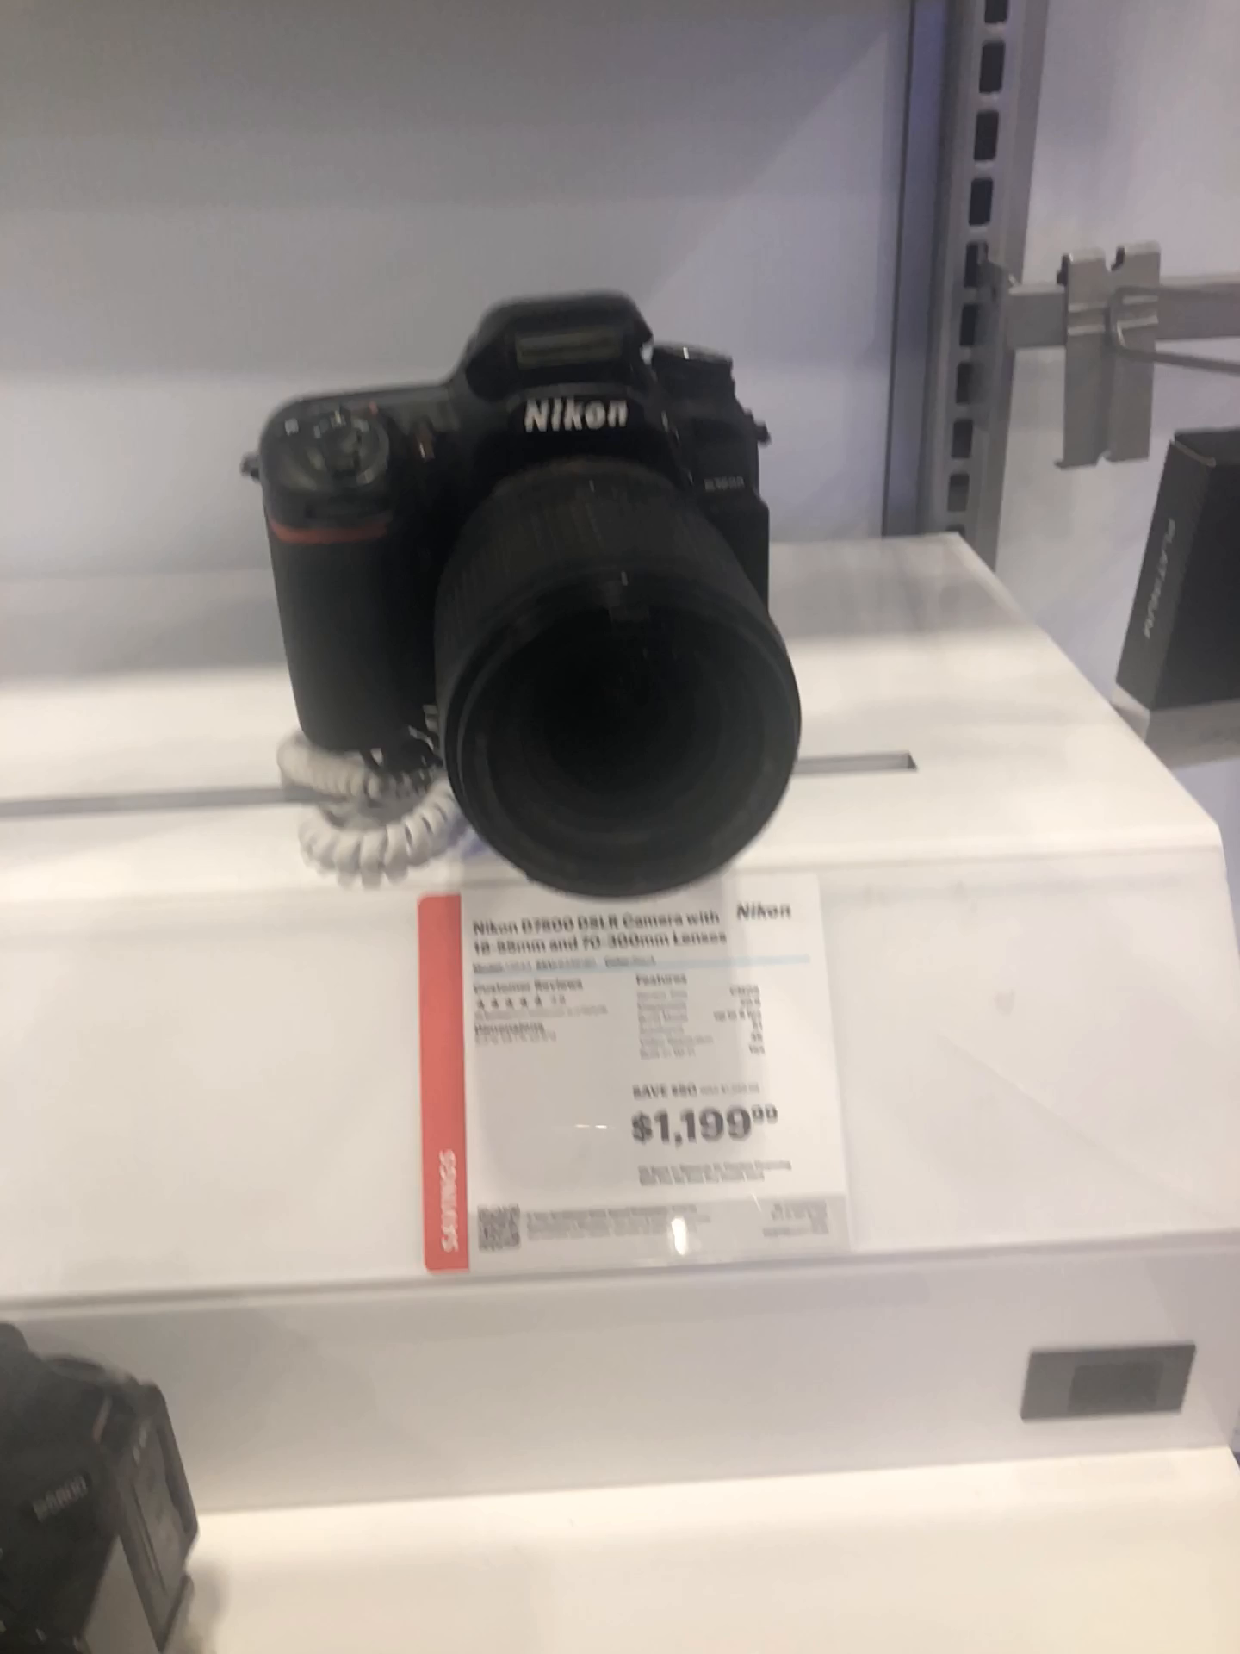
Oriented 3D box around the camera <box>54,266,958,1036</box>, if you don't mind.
[{"bbox_3d":[-0.026,-0.061,0.340,0.150,0.119,0.191,-5,28,-5],"label":"camera"}]
